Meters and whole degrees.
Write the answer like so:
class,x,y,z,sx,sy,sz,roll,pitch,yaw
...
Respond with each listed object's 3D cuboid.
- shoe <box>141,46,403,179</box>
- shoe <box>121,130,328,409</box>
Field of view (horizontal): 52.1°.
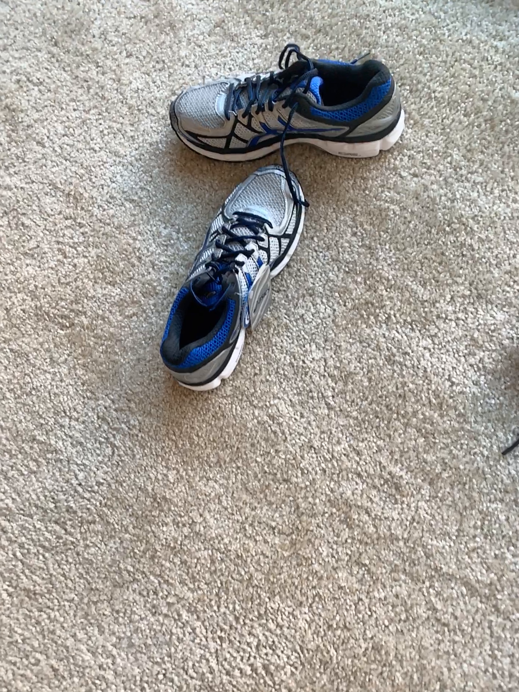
class,x,y,z,sx,sy,sz,roll,pitch,yaw
shoe,0.019,-0.294,0.689,0.310,0.110,0.100,2,78,10
shoe,-0.030,-0.084,0.624,0.100,0.110,0.290,25,83,13
